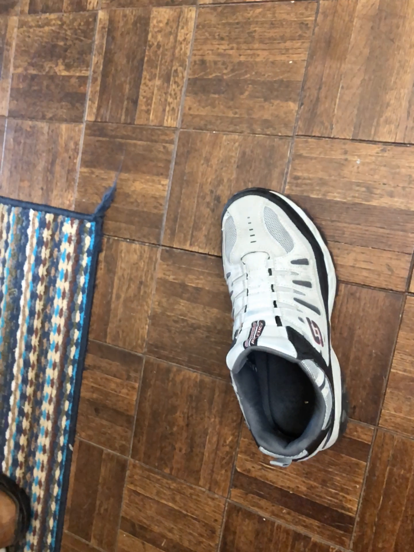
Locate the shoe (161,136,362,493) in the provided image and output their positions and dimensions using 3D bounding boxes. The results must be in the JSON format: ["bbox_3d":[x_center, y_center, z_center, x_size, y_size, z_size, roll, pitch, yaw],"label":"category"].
[{"bbox_3d":[0.067,0.041,0.498,0.120,0.150,0.320,-12,87,24],"label":"shoe"}]
